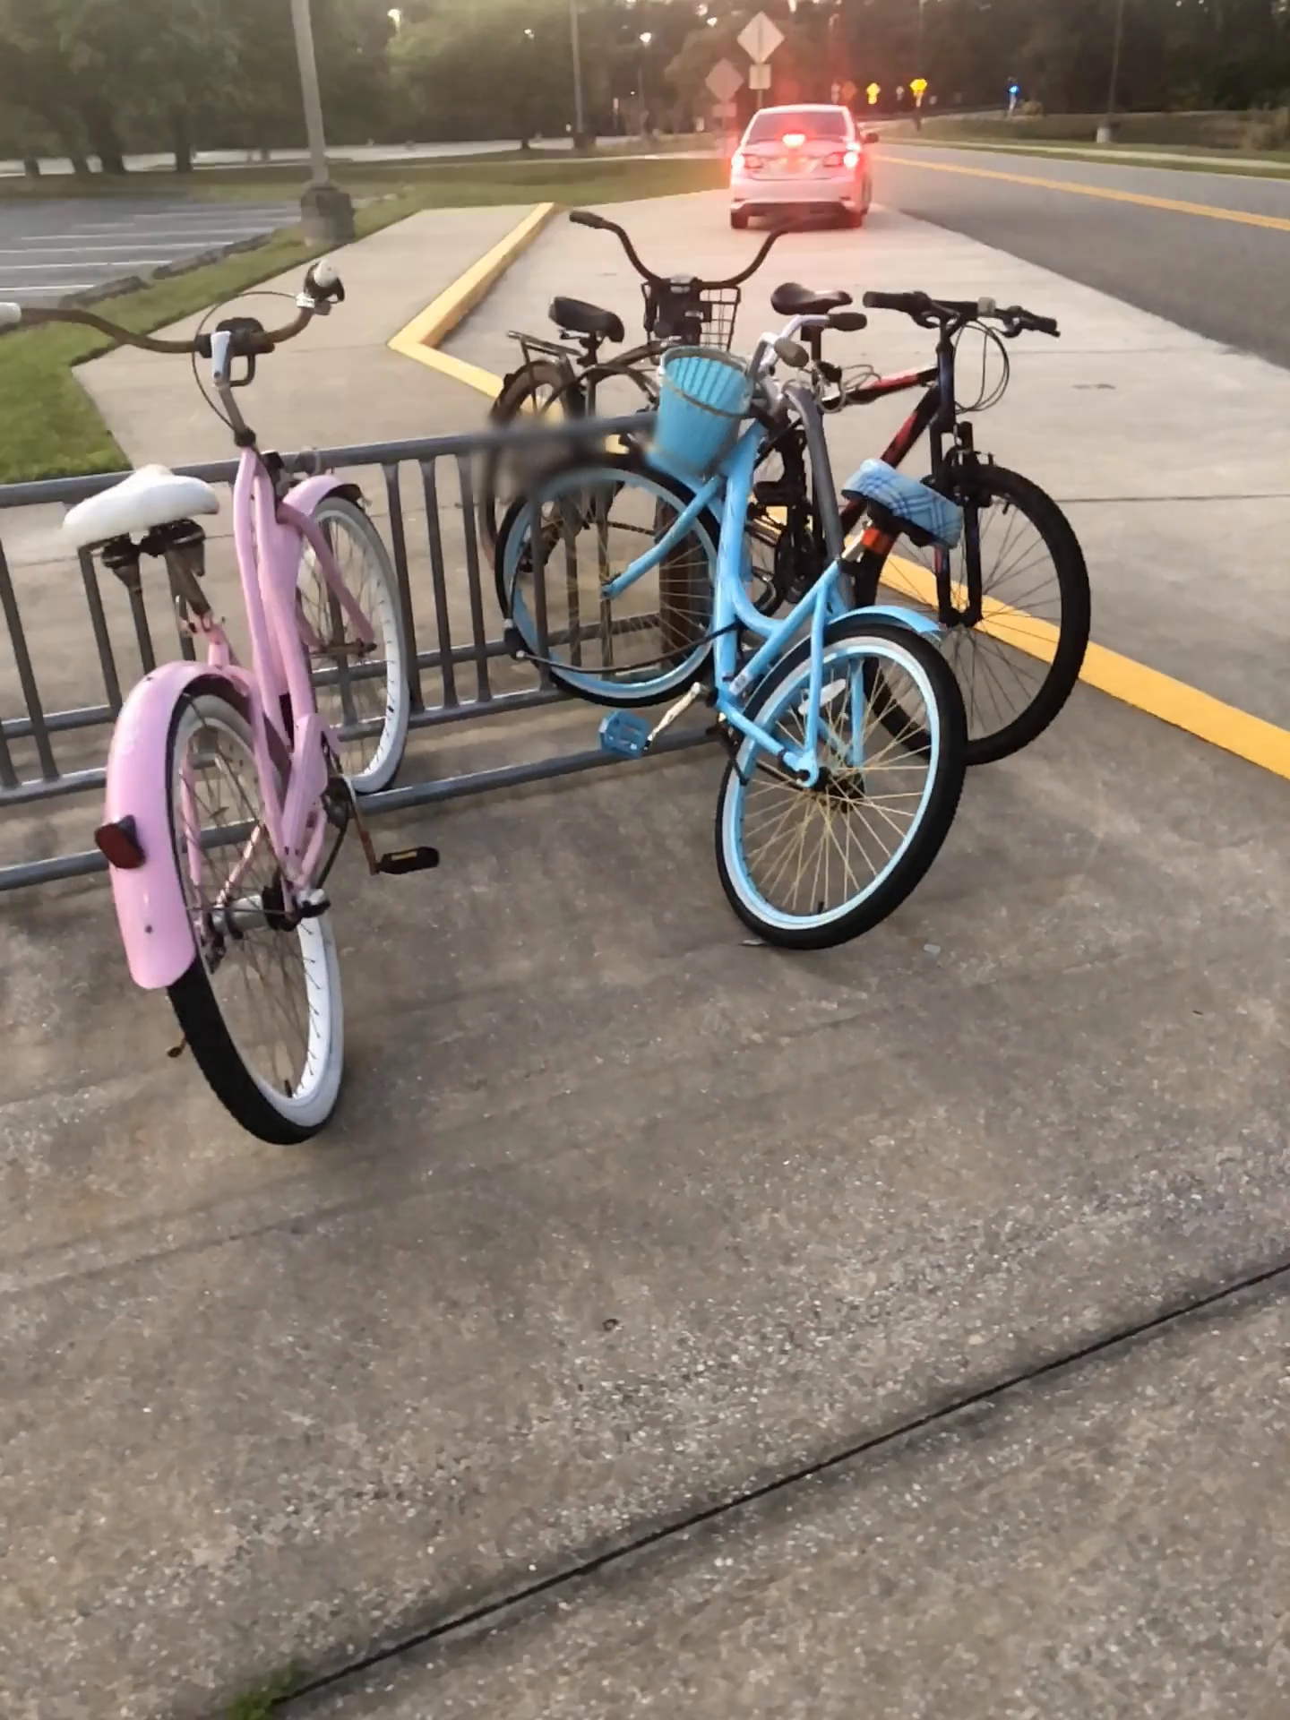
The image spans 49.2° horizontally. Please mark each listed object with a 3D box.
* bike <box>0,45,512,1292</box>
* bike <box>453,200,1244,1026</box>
[{"bbox_3d":[-0.668,-0.479,2.244,0.771,1.145,1.616,-3,35,-1],"label":"bike"},{"bbox_3d":[0.269,-0.582,2.702,0.584,0.953,1.424,-17,37,-25],"label":"bike"}]
